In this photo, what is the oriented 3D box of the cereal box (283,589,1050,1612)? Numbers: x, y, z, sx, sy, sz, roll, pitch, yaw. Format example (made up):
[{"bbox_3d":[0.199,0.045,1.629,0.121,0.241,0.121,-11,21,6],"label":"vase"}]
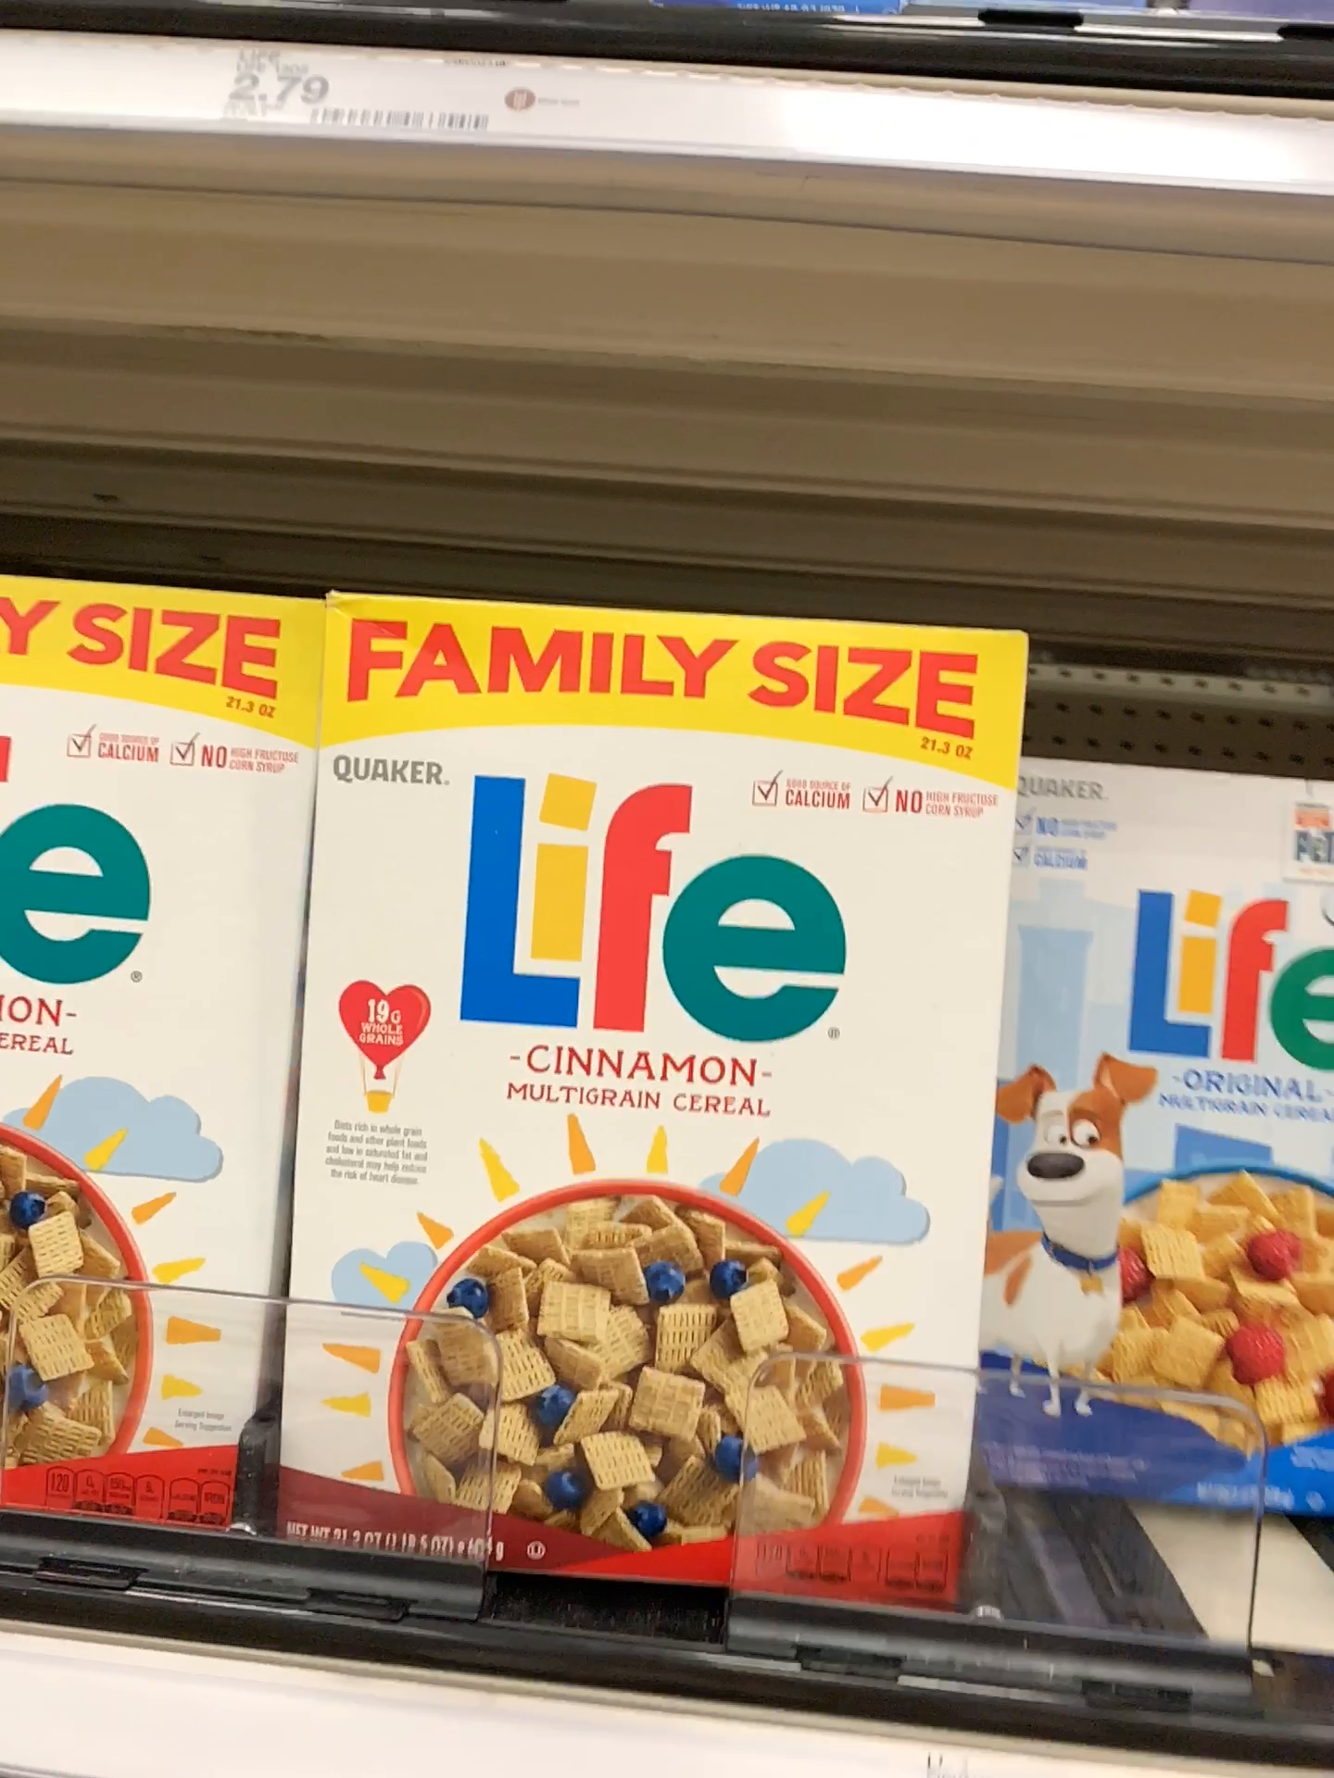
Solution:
[{"bbox_3d":[0.000,0.053,0.402,0.190,0.260,0.070,4,1,5],"label":"cereal box"}]
